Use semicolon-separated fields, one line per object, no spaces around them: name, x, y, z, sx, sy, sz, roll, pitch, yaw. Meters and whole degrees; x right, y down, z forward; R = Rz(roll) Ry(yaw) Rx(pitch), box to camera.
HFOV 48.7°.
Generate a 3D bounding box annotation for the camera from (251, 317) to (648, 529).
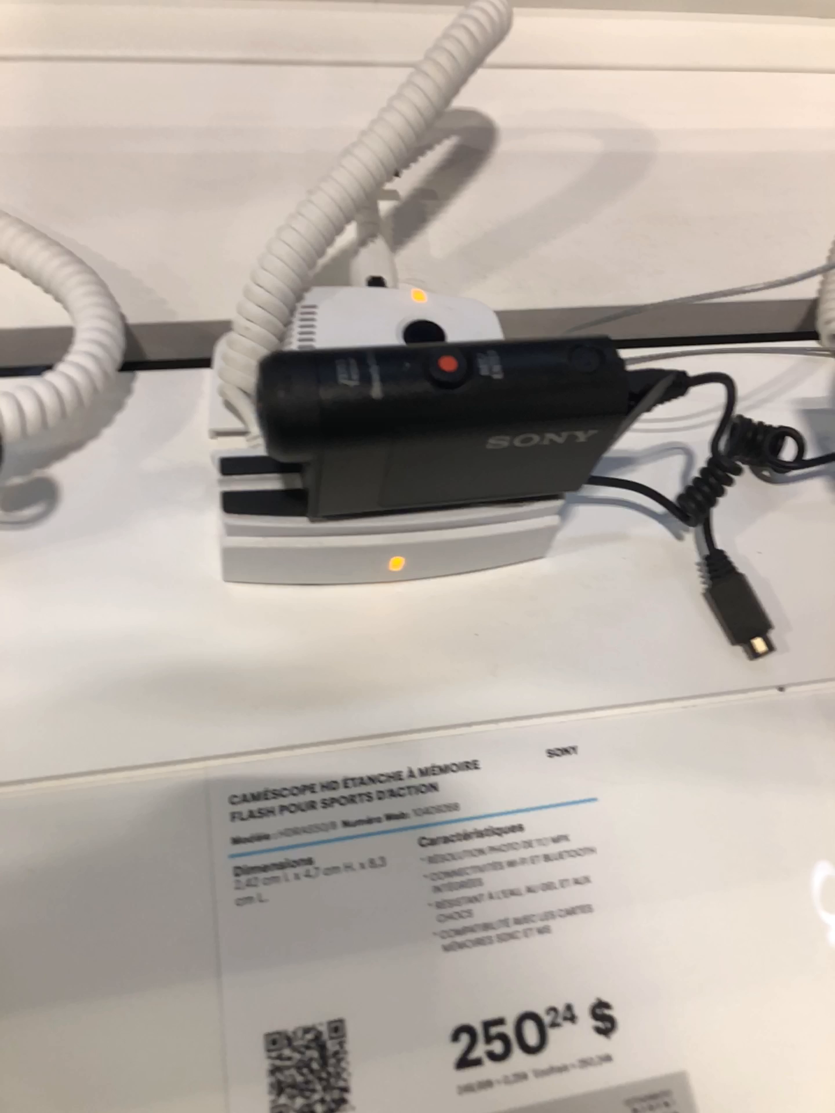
camera;0.004;-0.029;0.208;0.080;0.045;0.020;-5;62;-11
